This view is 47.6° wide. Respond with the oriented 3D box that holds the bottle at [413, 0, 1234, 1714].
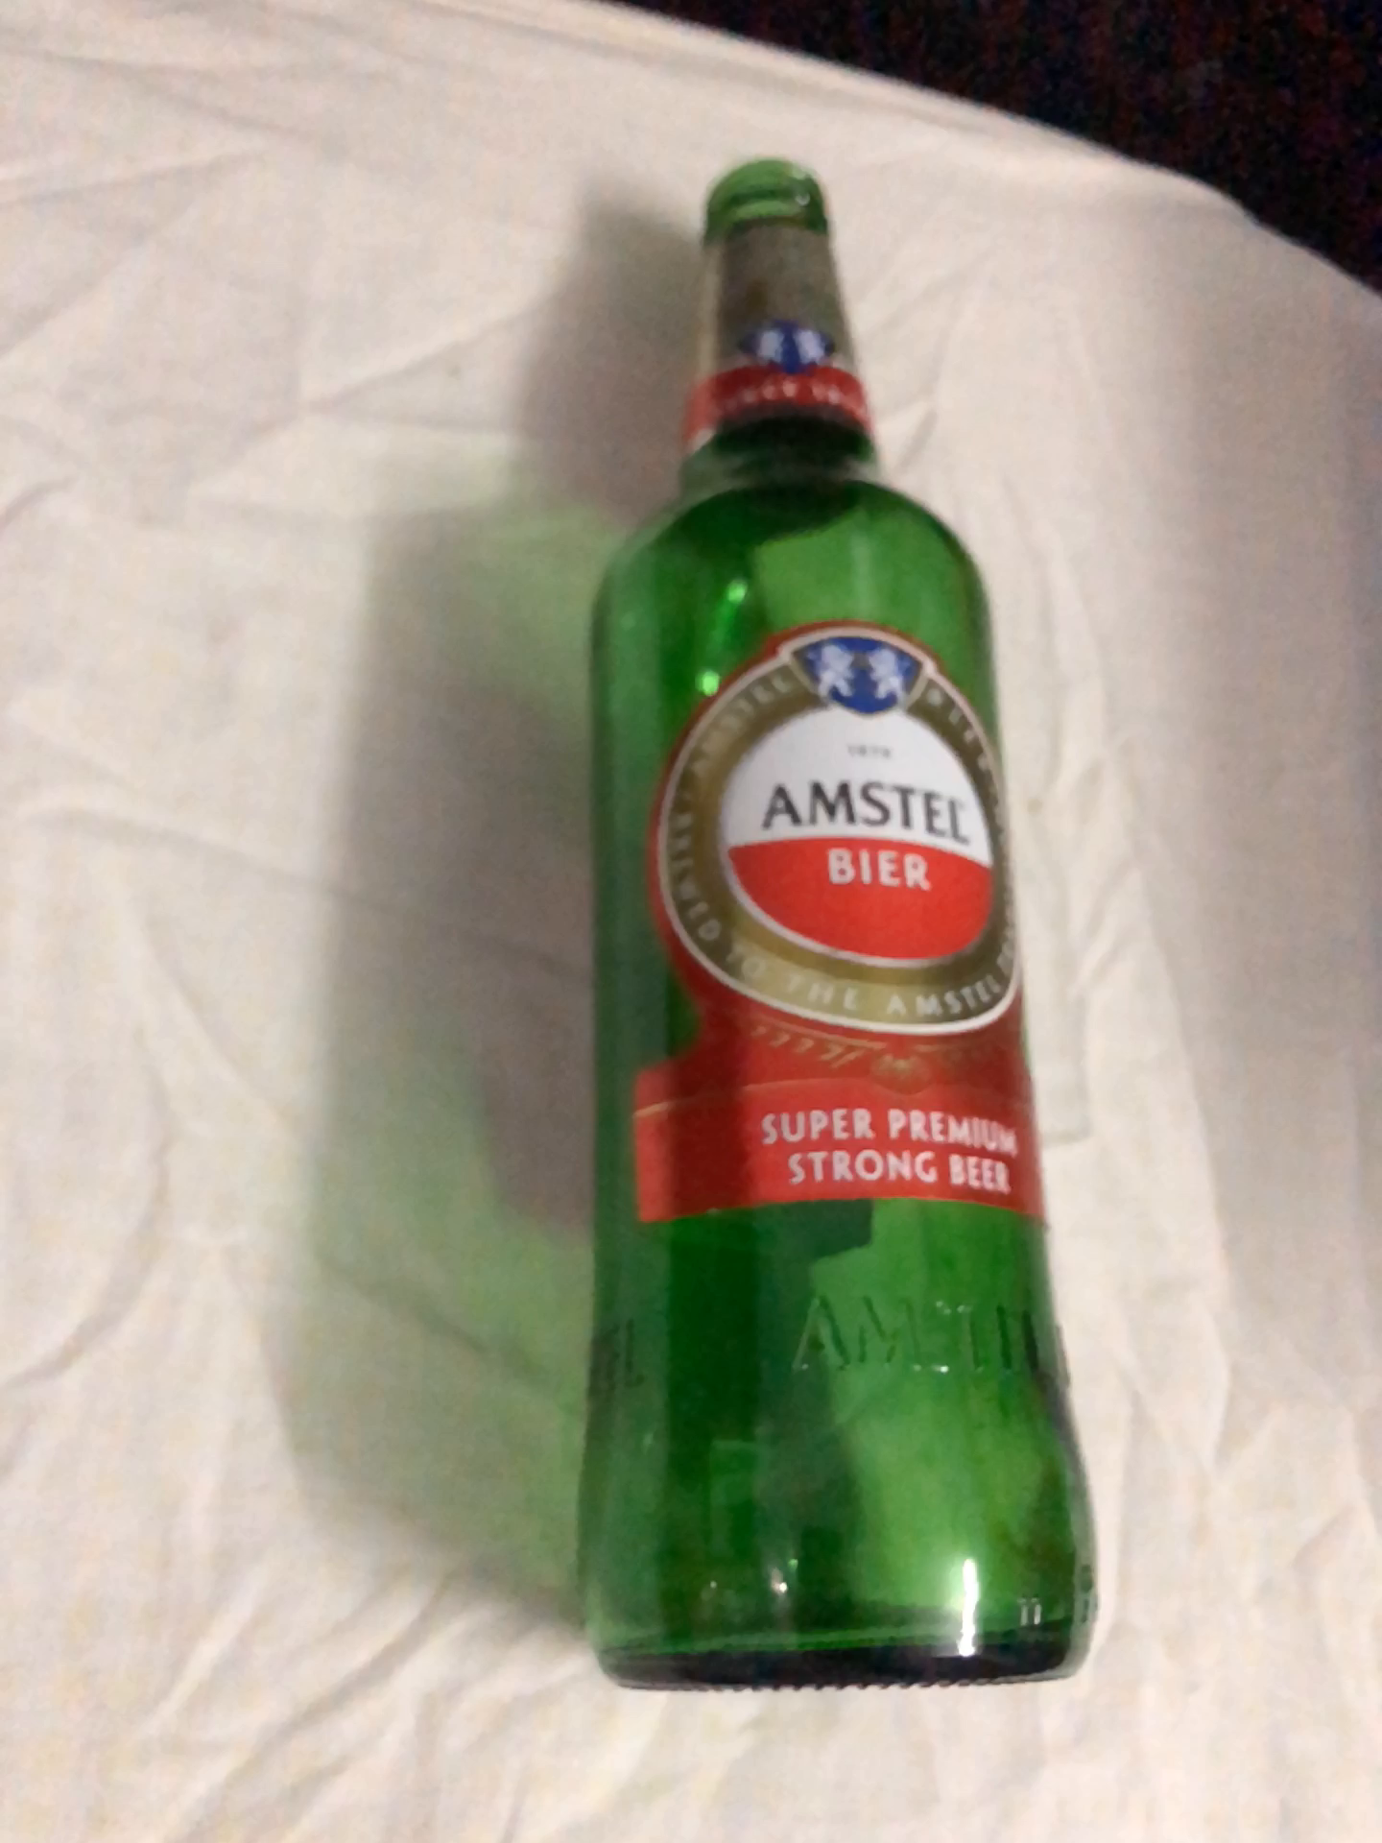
[{"bbox_3d":[0.003,-0.056,0.295,0.090,0.080,0.360,5,63,-17],"label":"bottle"}]
